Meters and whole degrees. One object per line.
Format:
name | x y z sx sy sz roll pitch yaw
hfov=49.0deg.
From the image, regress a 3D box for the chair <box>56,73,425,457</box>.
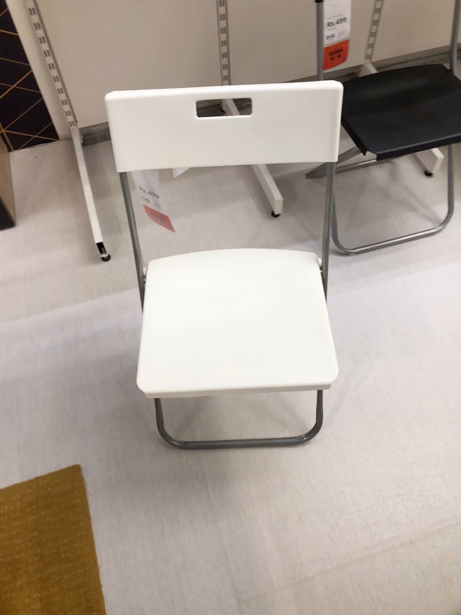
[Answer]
chair | 0.019 -0.011 1.032 0.450 0.726 0.402 -2 57 1
